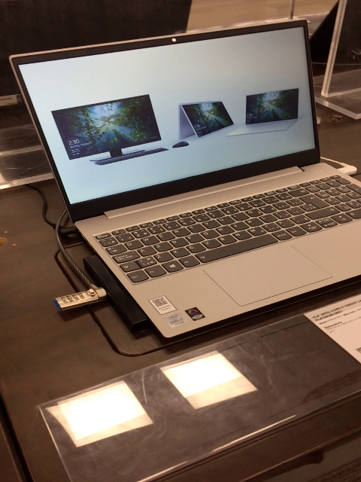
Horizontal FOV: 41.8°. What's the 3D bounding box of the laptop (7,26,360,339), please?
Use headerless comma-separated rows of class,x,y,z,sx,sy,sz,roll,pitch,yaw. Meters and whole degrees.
laptop,0.067,-0.096,0.543,0.362,0.197,0.313,-20,43,-21
